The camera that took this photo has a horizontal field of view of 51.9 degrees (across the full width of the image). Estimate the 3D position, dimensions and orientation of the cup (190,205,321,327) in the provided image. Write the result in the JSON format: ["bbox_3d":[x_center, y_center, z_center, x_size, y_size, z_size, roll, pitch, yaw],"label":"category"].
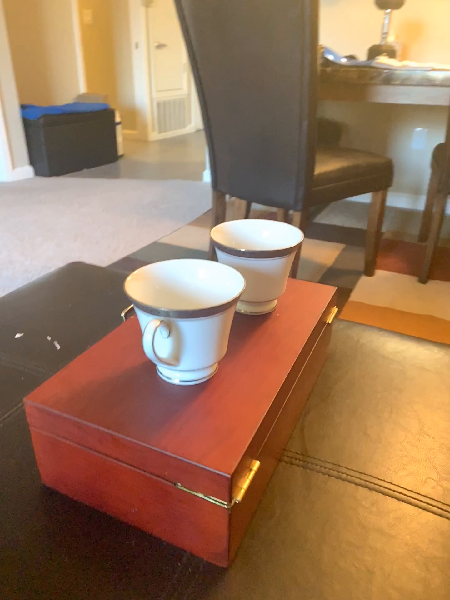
[{"bbox_3d":[0.032,-0.039,0.454,0.090,0.070,0.110,13,30,22],"label":"cup"}]

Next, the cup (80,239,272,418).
[{"bbox_3d":[-0.029,0.012,0.341,0.090,0.070,0.110,13,30,23],"label":"cup"}]
